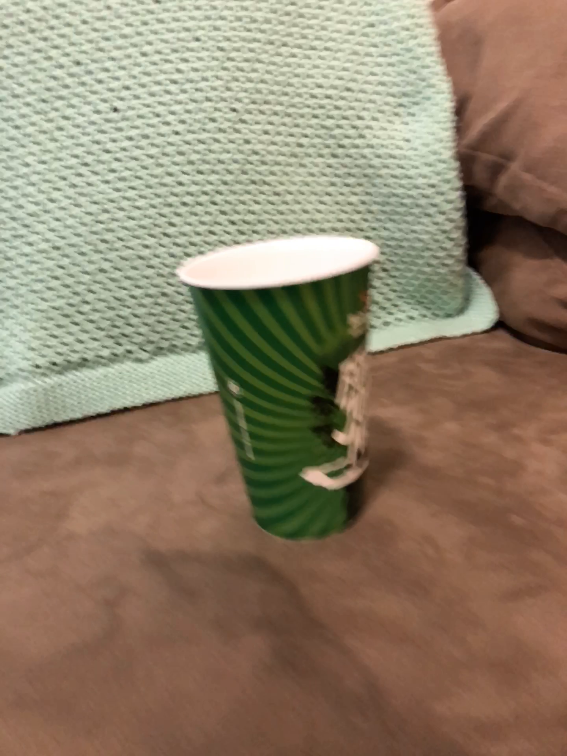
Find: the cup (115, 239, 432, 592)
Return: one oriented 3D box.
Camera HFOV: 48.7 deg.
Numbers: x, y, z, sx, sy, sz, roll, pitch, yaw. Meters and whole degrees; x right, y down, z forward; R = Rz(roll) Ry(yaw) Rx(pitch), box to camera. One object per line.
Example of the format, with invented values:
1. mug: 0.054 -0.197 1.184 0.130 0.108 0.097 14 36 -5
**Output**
1. cup: 0.001 0.006 0.311 0.100 0.129 0.100 -7 20 3
